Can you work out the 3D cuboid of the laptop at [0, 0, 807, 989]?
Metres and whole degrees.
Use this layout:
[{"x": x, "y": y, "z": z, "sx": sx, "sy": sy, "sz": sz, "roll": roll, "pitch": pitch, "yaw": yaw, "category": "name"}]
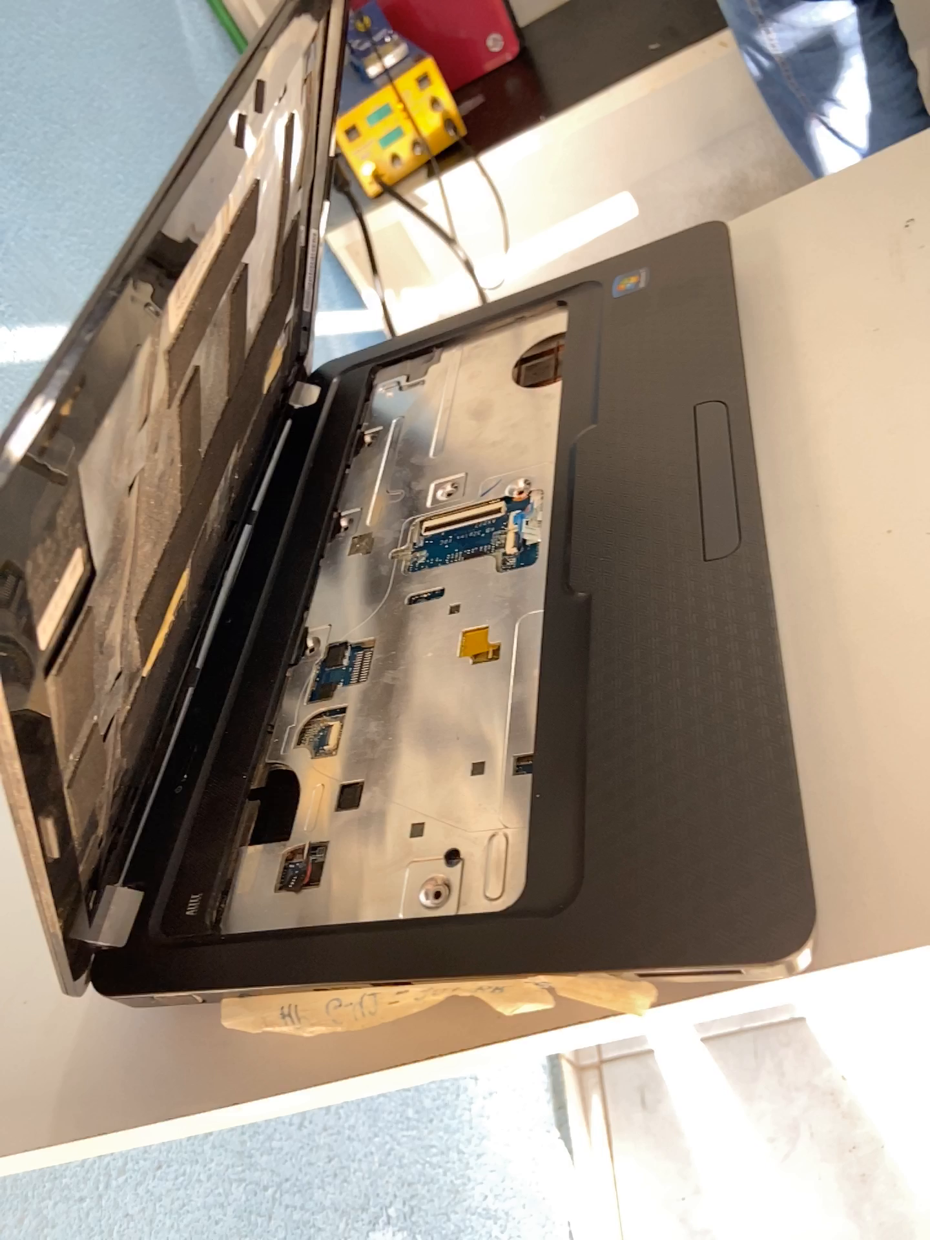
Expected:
[{"x": -0.043, "y": -0.078, "z": 0.313, "sx": 0.222, "sy": 0.153, "sz": 0.328, "roll": -14, "pitch": 45, "yaw": 24, "category": "laptop"}]
